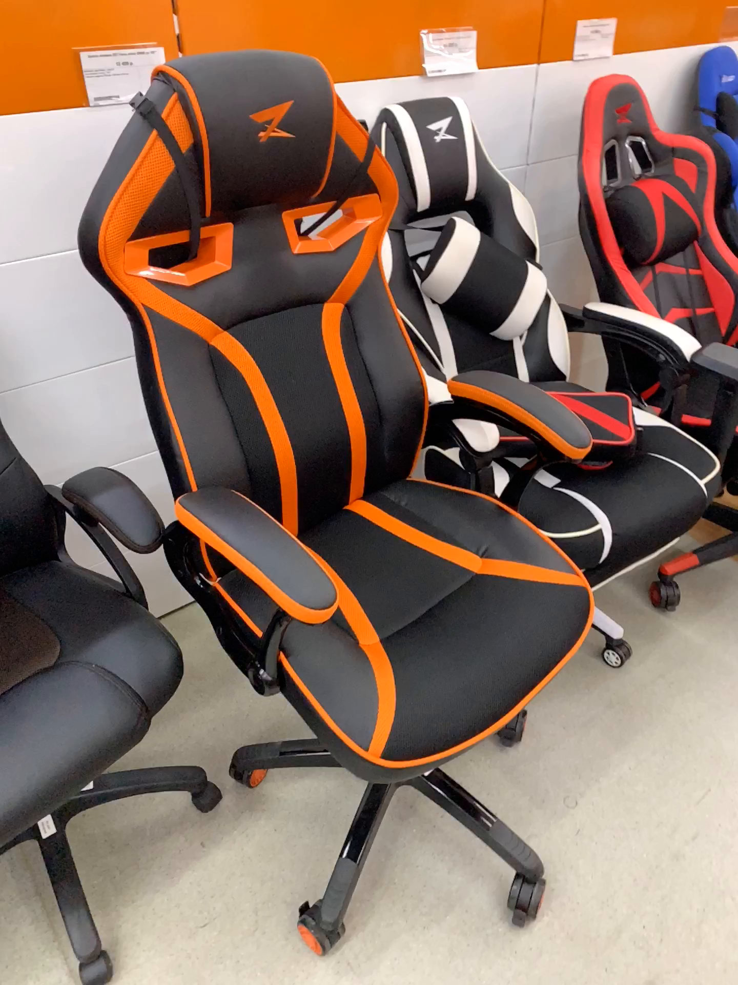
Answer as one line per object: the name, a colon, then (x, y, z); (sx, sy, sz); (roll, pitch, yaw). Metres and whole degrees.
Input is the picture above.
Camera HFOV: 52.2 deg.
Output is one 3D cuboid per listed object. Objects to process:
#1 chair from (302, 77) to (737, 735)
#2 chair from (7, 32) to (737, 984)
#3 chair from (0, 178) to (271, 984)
chair: (0.463, -0.278, 1.863); (0.853, 1.193, 0.822); (-29, 43, -34)
chair: (0.081, 0.060, 1.217); (0.722, 1.312, 0.732); (-24, 41, -29)
chair: (-0.778, 0.276, 1.317); (0.823, 1.322, 0.722); (-29, 43, -34)
